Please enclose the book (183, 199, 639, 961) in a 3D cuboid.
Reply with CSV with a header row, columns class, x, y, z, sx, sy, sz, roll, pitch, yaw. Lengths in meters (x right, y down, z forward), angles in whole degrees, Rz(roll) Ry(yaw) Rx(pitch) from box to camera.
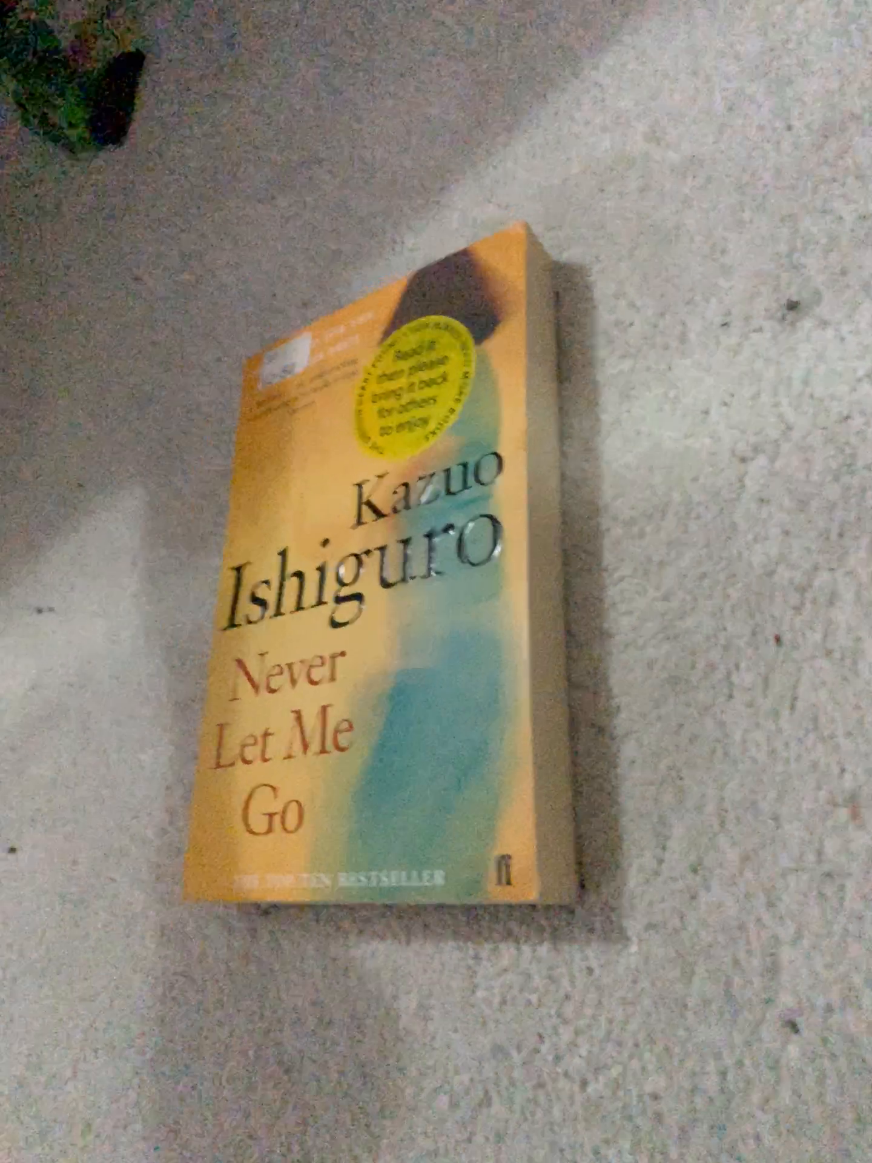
class,x,y,z,sx,sy,sz,roll,pitch,yaw
book,-0.013,0.000,0.279,0.140,0.020,0.211,-14,64,35
